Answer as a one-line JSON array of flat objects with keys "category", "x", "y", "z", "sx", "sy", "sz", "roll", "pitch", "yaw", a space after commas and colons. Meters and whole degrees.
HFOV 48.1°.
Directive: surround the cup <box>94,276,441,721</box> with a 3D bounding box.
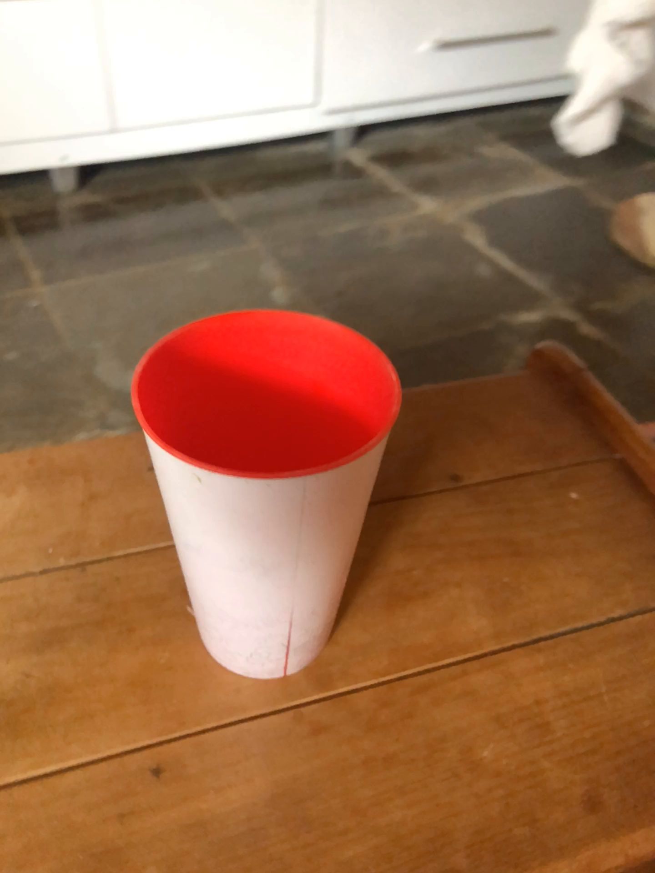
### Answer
[{"category": "cup", "x": -0.028, "y": 0.022, "z": 0.285, "sx": 0.090, "sy": 0.119, "sz": 0.101, "roll": -12, "pitch": 44, "yaw": -17}]
